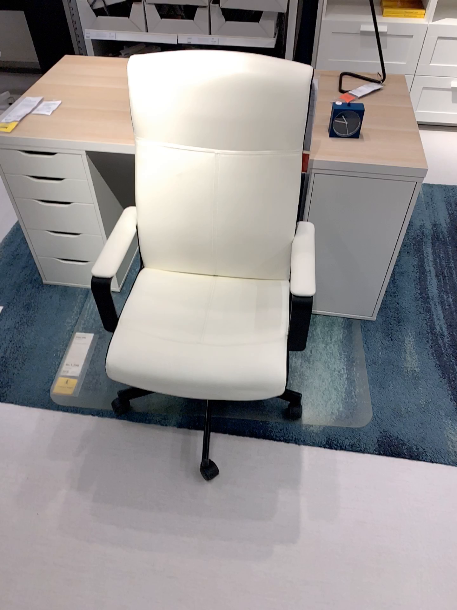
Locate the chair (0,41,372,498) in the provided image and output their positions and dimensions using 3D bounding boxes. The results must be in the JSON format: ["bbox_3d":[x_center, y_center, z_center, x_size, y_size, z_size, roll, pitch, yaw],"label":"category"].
[{"bbox_3d":[-0.088,-0.059,1.267,0.690,0.956,0.702,6,47,6],"label":"chair"}]
